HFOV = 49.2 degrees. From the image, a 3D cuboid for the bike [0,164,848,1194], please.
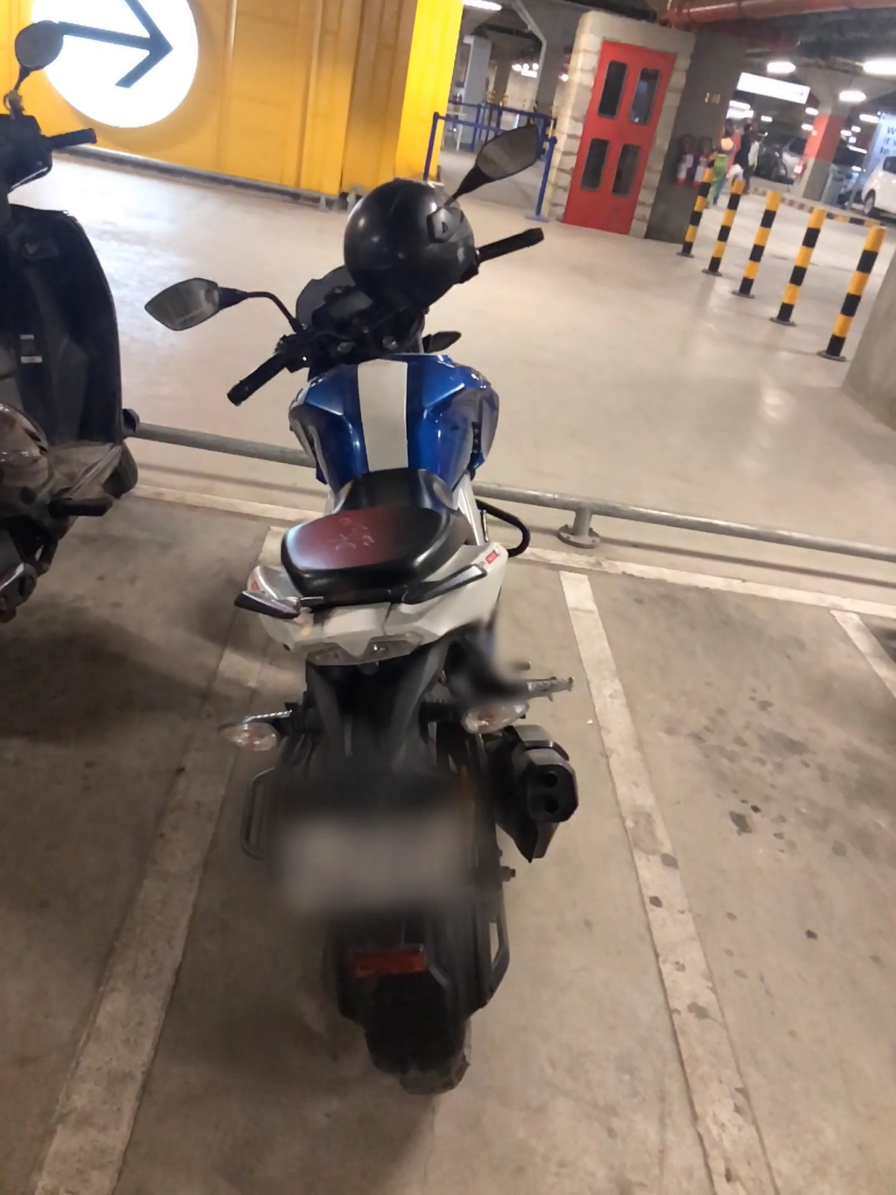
[{"bbox_3d":[-0.263,-0.104,1.984,0.806,1.163,1.995,6,27,-11],"label":"bike"}]
